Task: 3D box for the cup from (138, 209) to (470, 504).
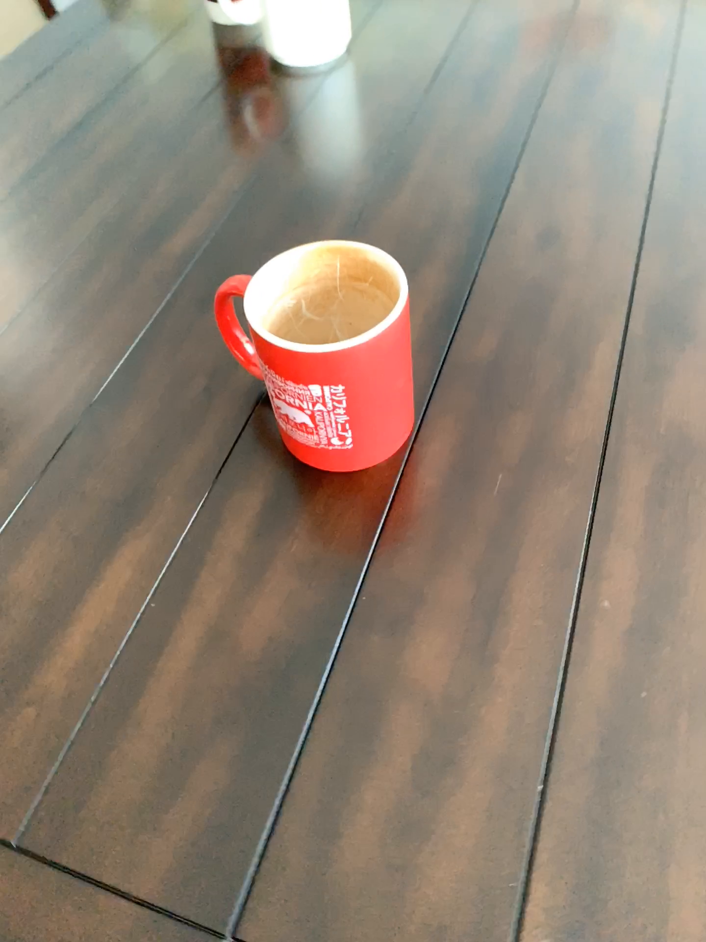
[{"bbox_3d":[-0.022,-0.068,0.406,0.140,0.080,0.100,23,59,23],"label":"cup"}]
